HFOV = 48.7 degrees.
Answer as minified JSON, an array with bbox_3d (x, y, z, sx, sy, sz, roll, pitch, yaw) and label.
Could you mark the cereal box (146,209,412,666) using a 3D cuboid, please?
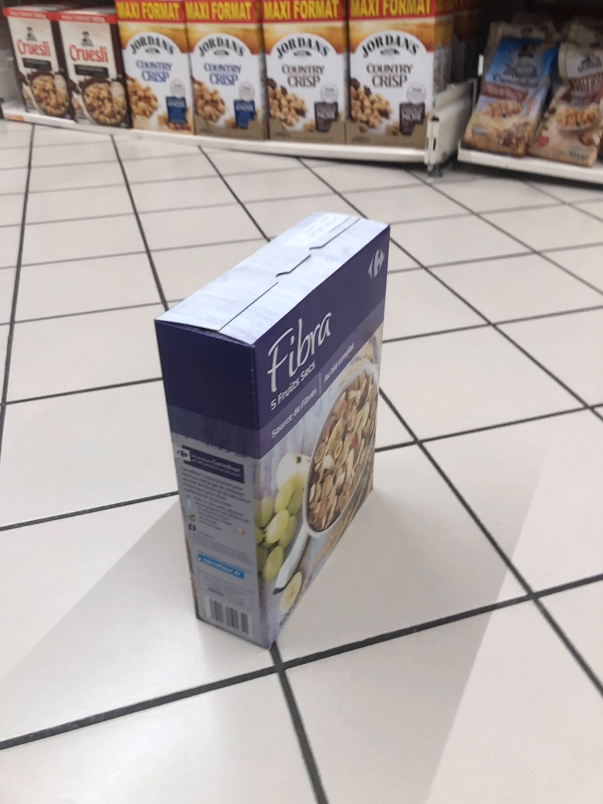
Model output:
[{"bbox_3d":[-0.001,0.019,0.500,0.080,0.258,0.211,15,37,22],"label":"cereal box"}]
